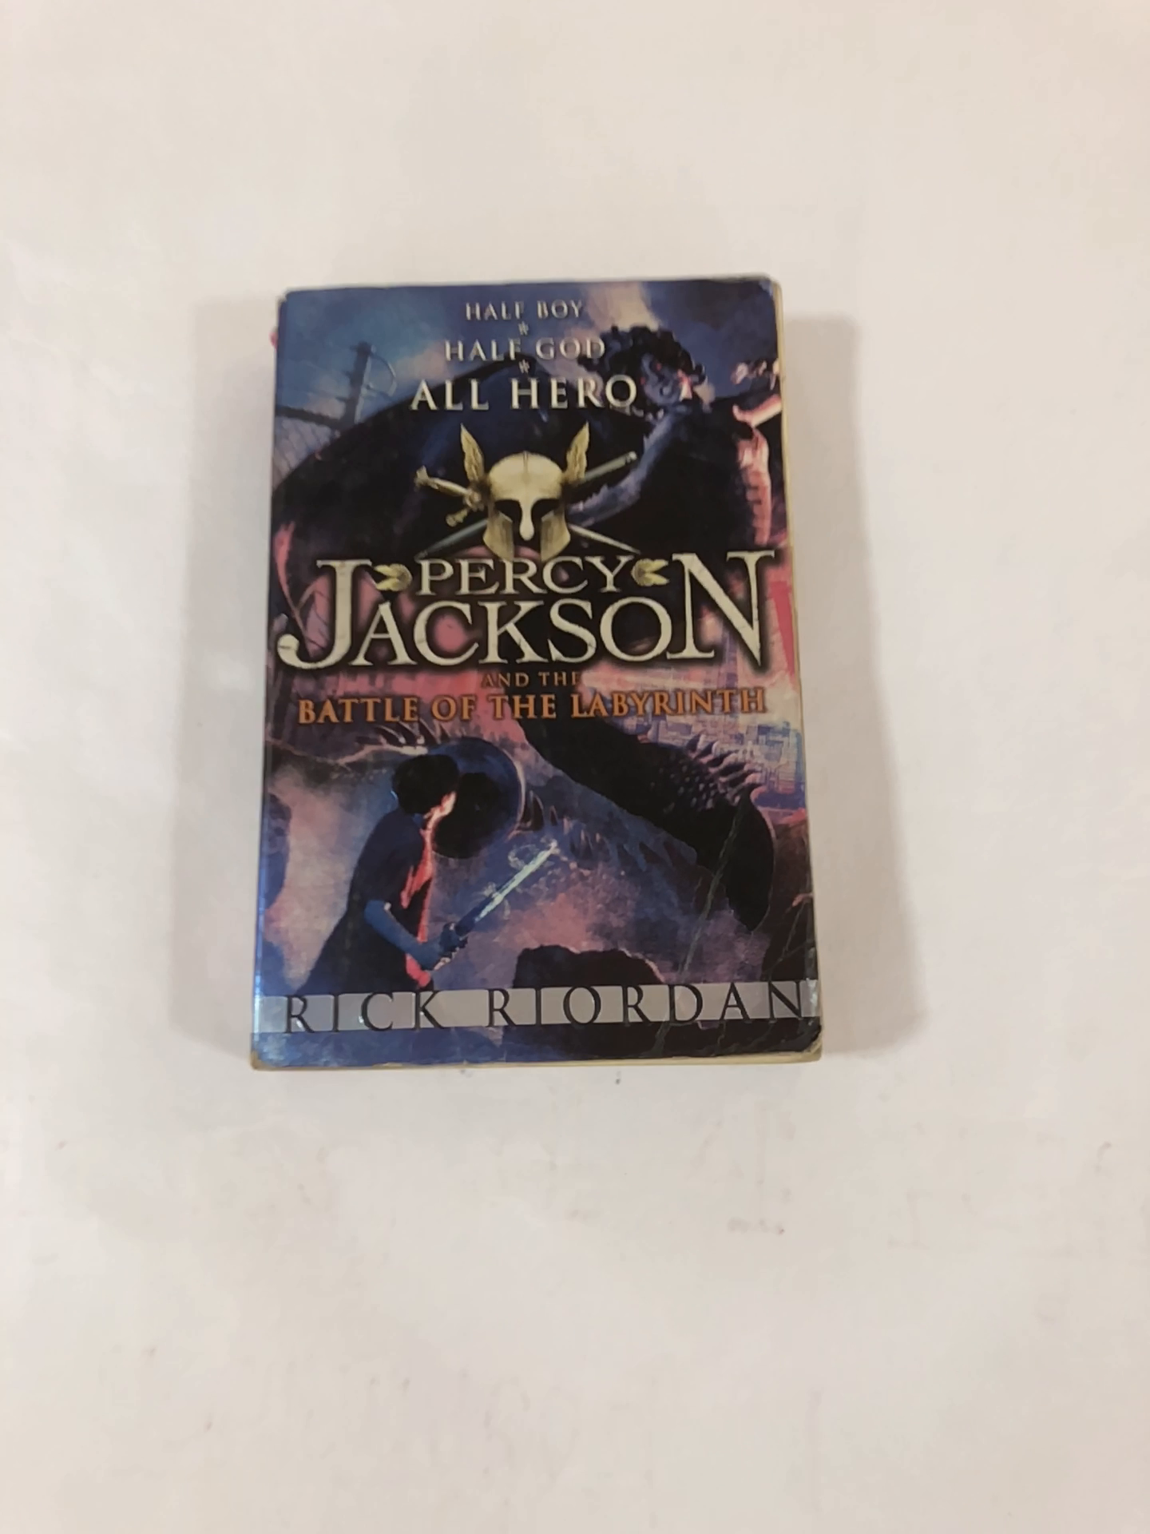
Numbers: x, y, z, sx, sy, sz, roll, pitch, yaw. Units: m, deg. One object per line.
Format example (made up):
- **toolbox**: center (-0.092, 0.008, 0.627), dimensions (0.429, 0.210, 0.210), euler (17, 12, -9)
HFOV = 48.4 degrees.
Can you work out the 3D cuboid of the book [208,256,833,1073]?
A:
- **book**: center (-0.014, -0.026, 0.308), dimensions (0.130, 0.040, 0.190), euler (-2, 76, 0)
